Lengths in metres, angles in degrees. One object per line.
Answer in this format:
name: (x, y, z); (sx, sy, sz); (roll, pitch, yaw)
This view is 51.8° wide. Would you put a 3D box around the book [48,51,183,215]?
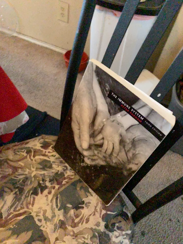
book: (0.020, 0.031, 0.401); (0.220, 0.269, 0.040); (42, 36, 24)
